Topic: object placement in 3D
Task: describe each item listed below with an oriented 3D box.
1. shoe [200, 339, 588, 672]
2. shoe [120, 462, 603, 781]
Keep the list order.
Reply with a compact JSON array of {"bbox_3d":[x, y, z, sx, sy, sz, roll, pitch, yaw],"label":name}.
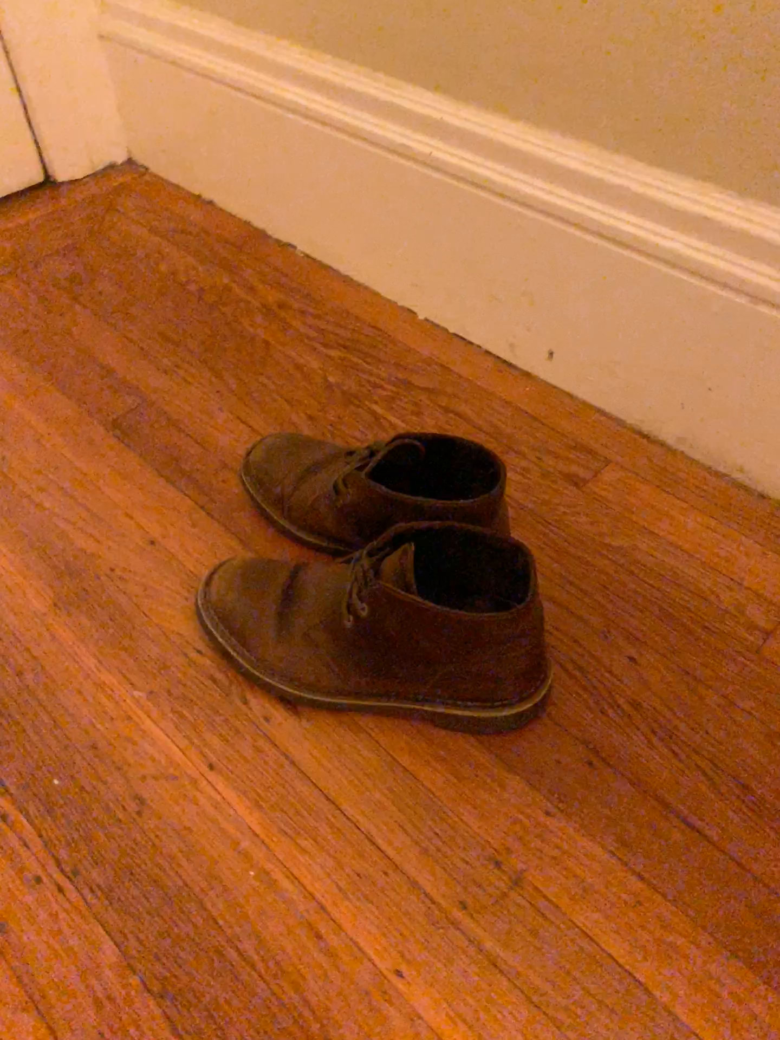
[{"bbox_3d":[-0.003,-0.022,0.668,0.291,0.119,0.120,29,55,25],"label":"shoe"},{"bbox_3d":[-0.015,0.069,0.576,0.300,0.119,0.120,11,49,11],"label":"shoe"}]
